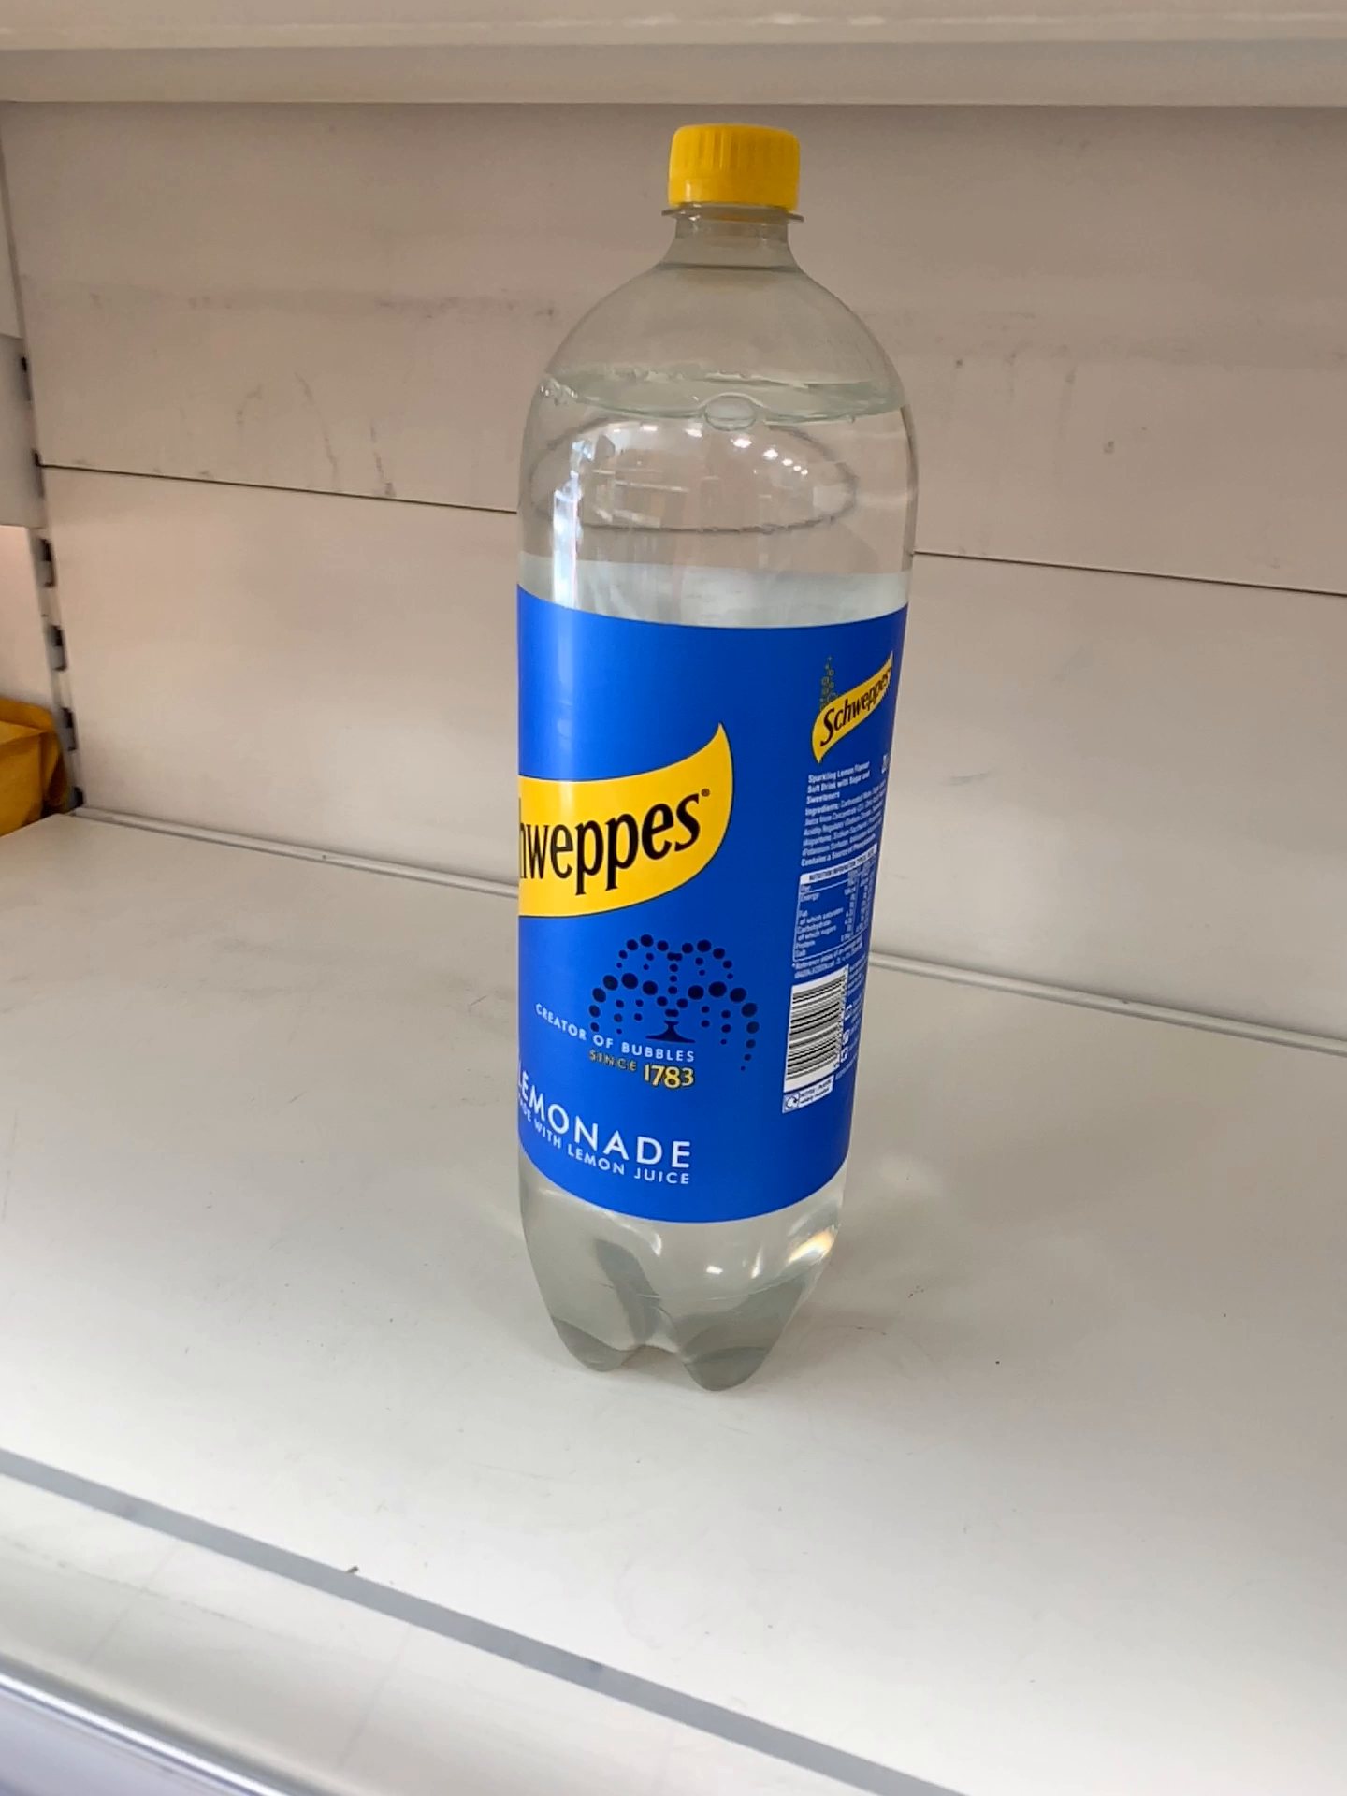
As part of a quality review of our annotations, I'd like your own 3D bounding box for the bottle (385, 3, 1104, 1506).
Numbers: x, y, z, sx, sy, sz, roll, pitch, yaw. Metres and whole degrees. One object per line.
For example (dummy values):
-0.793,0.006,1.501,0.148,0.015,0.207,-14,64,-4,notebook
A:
0.007,-0.027,0.362,0.110,0.327,0.111,2,23,-1,bottle
